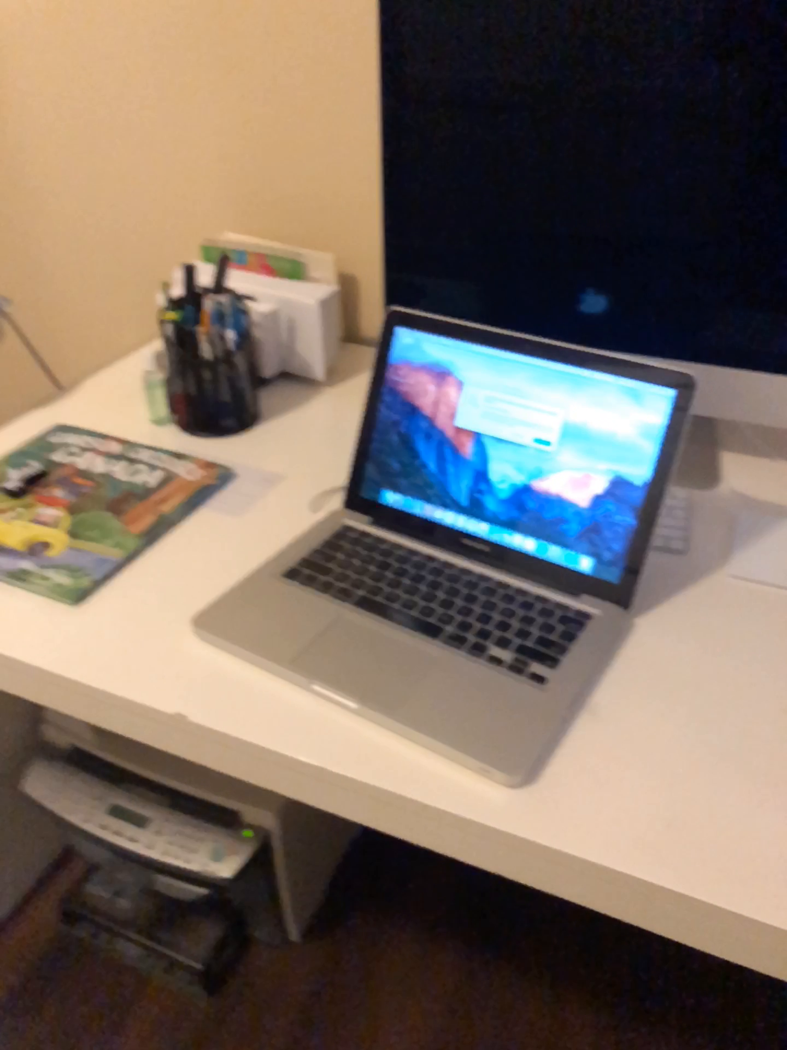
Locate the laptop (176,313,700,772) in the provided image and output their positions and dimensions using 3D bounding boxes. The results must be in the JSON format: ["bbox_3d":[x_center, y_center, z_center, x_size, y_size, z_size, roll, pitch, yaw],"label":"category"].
[{"bbox_3d":[0.047,-0.018,0.752,0.303,0.187,0.313,19,39,27],"label":"laptop"}]
